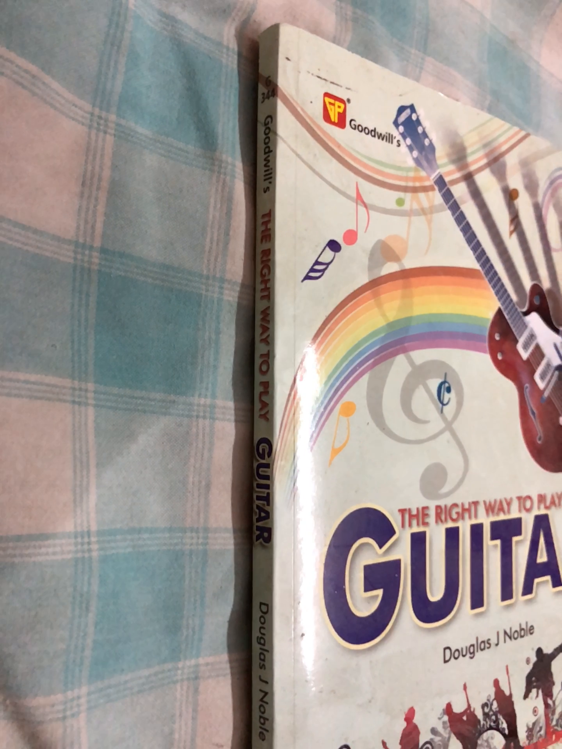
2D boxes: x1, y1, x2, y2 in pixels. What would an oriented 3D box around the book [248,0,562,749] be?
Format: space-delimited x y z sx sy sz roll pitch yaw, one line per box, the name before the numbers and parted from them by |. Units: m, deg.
book | 0.073 0.022 0.225 0.181 0.030 0.240 3 84 -35
